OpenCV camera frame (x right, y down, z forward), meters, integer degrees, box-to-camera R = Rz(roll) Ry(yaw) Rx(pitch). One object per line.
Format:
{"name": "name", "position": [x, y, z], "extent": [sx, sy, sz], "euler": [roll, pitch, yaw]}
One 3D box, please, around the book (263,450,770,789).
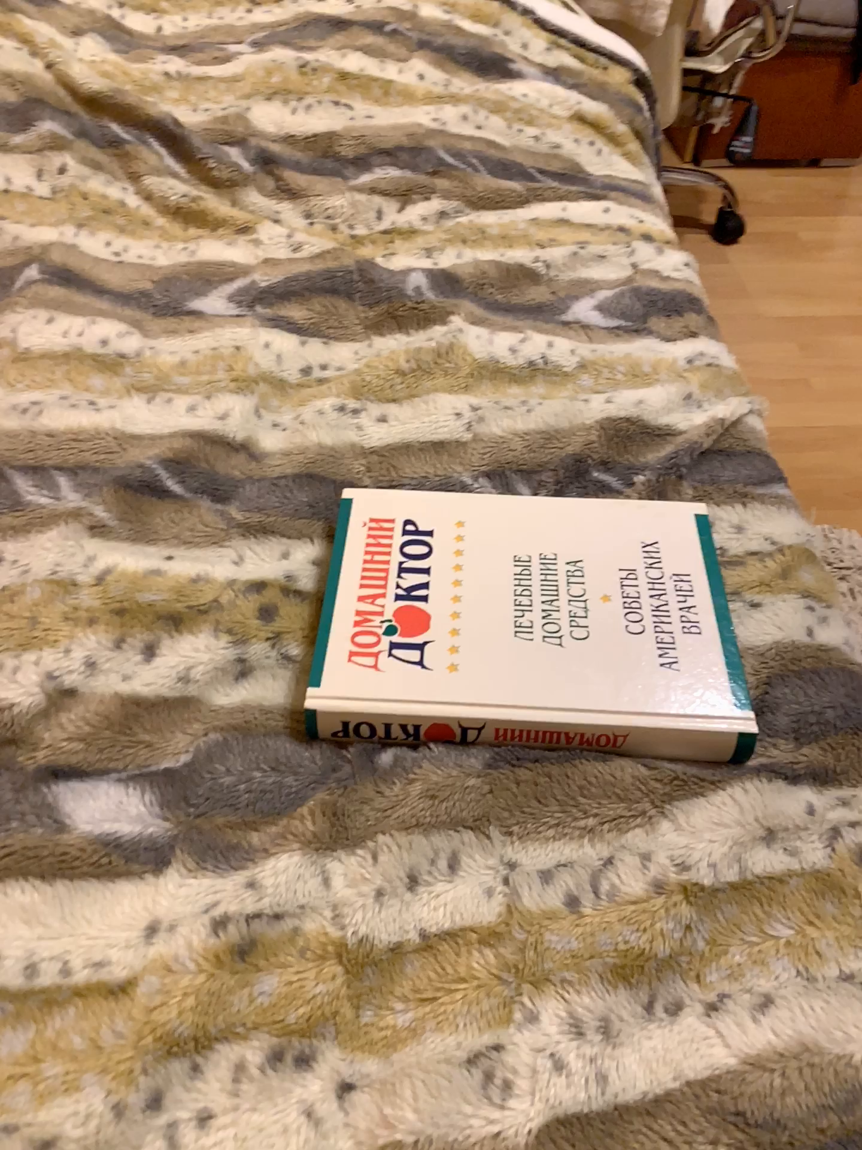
{"name": "book", "position": [0.044, 0.016, 0.494], "extent": [0.240, 0.040, 0.192], "euler": [4, 48, 0]}
